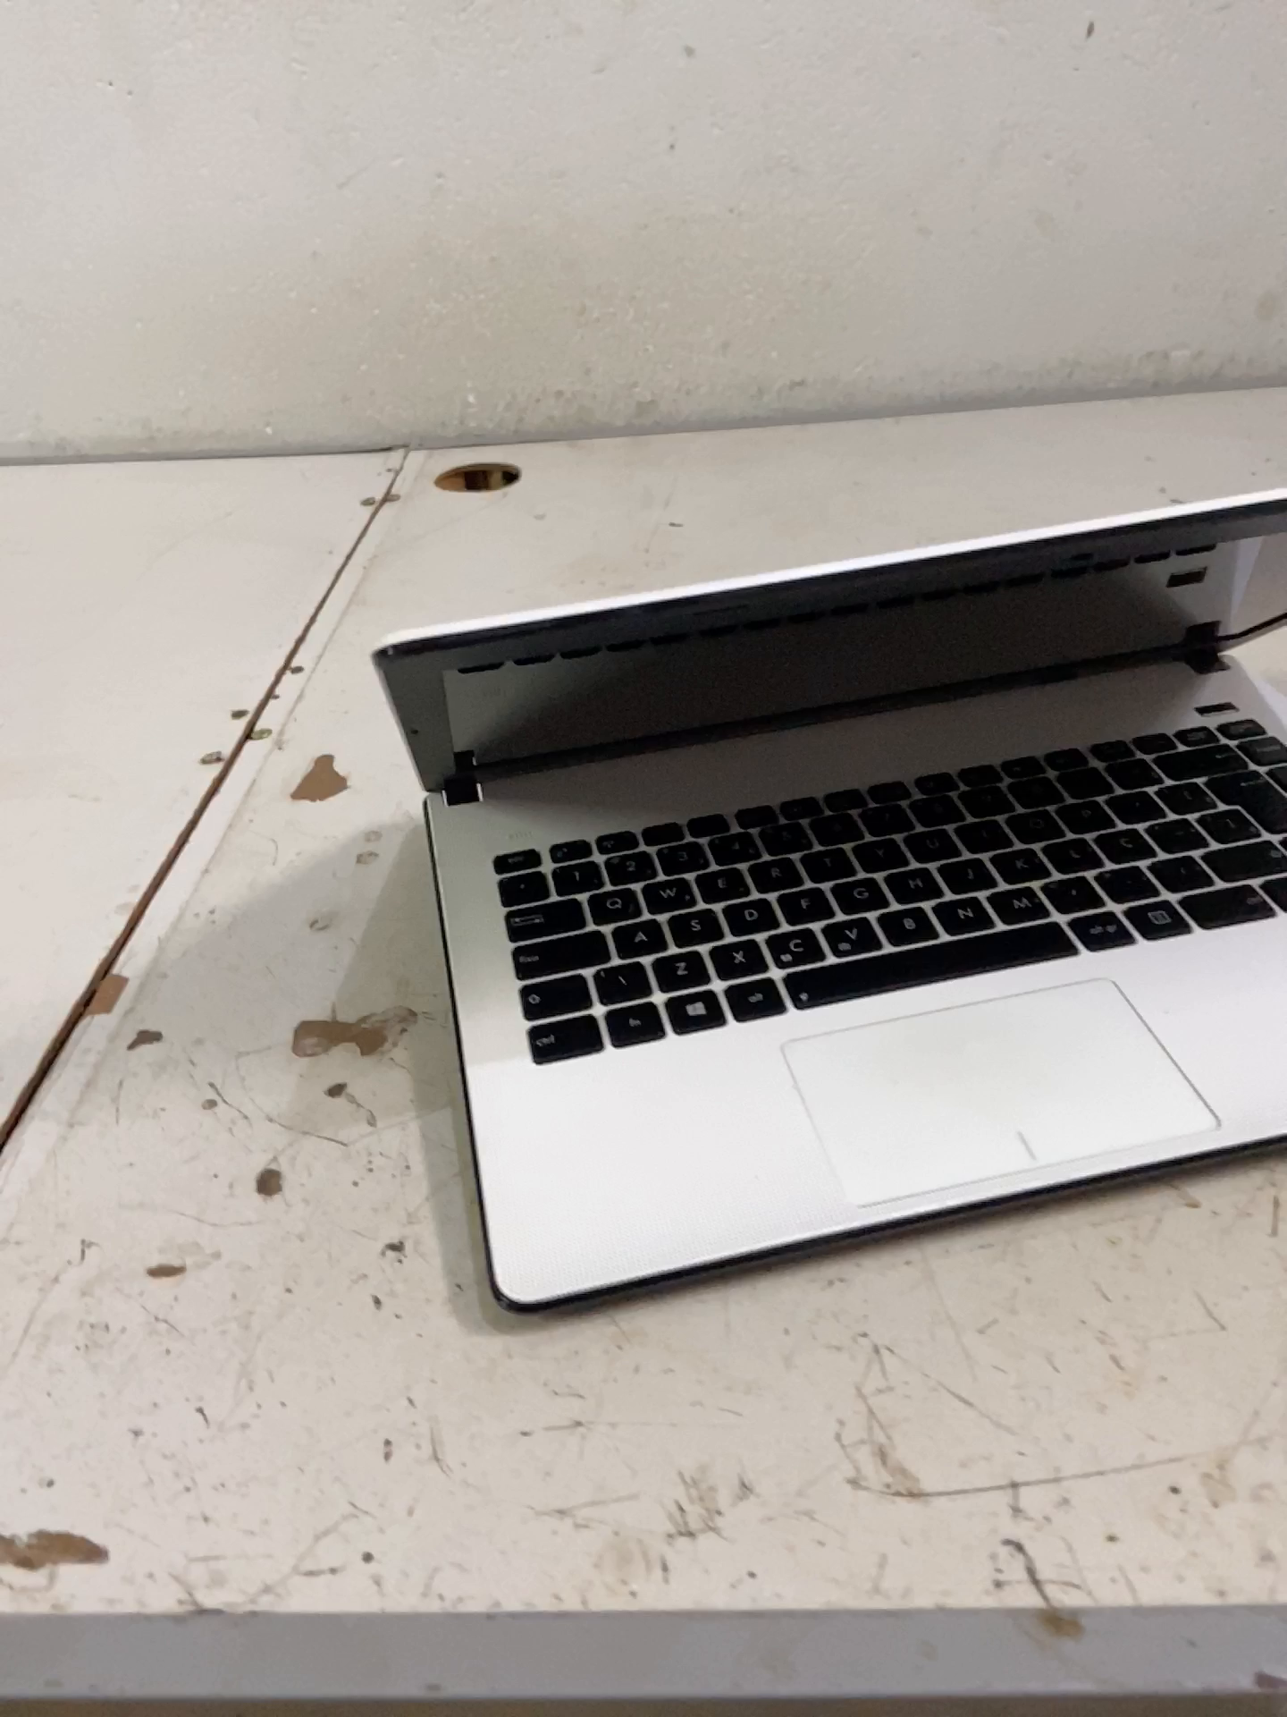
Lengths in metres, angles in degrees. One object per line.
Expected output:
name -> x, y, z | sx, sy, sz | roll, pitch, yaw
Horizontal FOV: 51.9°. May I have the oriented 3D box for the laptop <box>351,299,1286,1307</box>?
laptop -> 0.100, -0.047, 0.407 | 0.343, 0.141, 0.237 | -11, 36, -8
